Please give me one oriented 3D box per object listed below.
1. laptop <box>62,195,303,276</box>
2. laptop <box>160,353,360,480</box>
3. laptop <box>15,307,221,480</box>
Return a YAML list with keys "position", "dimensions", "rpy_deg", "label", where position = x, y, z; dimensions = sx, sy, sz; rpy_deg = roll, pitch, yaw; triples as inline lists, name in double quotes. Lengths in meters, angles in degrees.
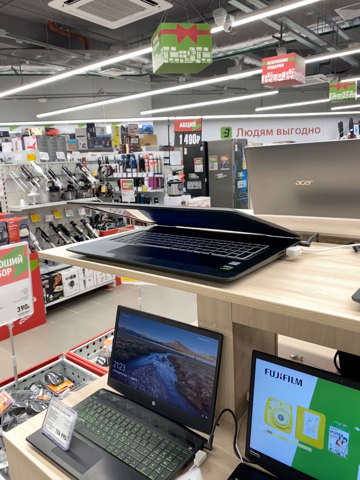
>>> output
- position: [-0.002, -0.033, 0.743]
  dimensions: [0.404, 0.084, 0.271]
  rpy_deg: [6, 15, 39]
  label: "laptop"
- position: [0.209, 0.383, 0.564]
  dimensions: [0.354, 0.226, 0.298]
  rpy_deg: [5, 13, 39]
  label: "laptop"
- position: [-0.135, 0.345, 0.858]
  dimensions: [0.344, 0.220, 0.314]
  rpy_deg: [7, 13, 36]
  label: "laptop"
